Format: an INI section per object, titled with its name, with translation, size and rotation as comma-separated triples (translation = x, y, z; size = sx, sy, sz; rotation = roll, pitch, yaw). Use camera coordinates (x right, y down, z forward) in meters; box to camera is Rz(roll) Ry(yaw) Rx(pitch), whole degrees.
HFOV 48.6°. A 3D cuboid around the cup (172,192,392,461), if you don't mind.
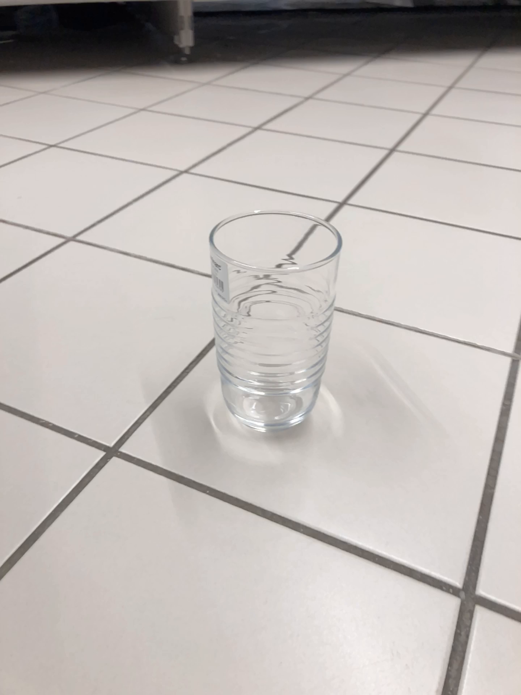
[cup]
translation = 0.009, -0.015, 0.319
size = 0.077, 0.104, 0.079
rotation = 1, 36, 0
